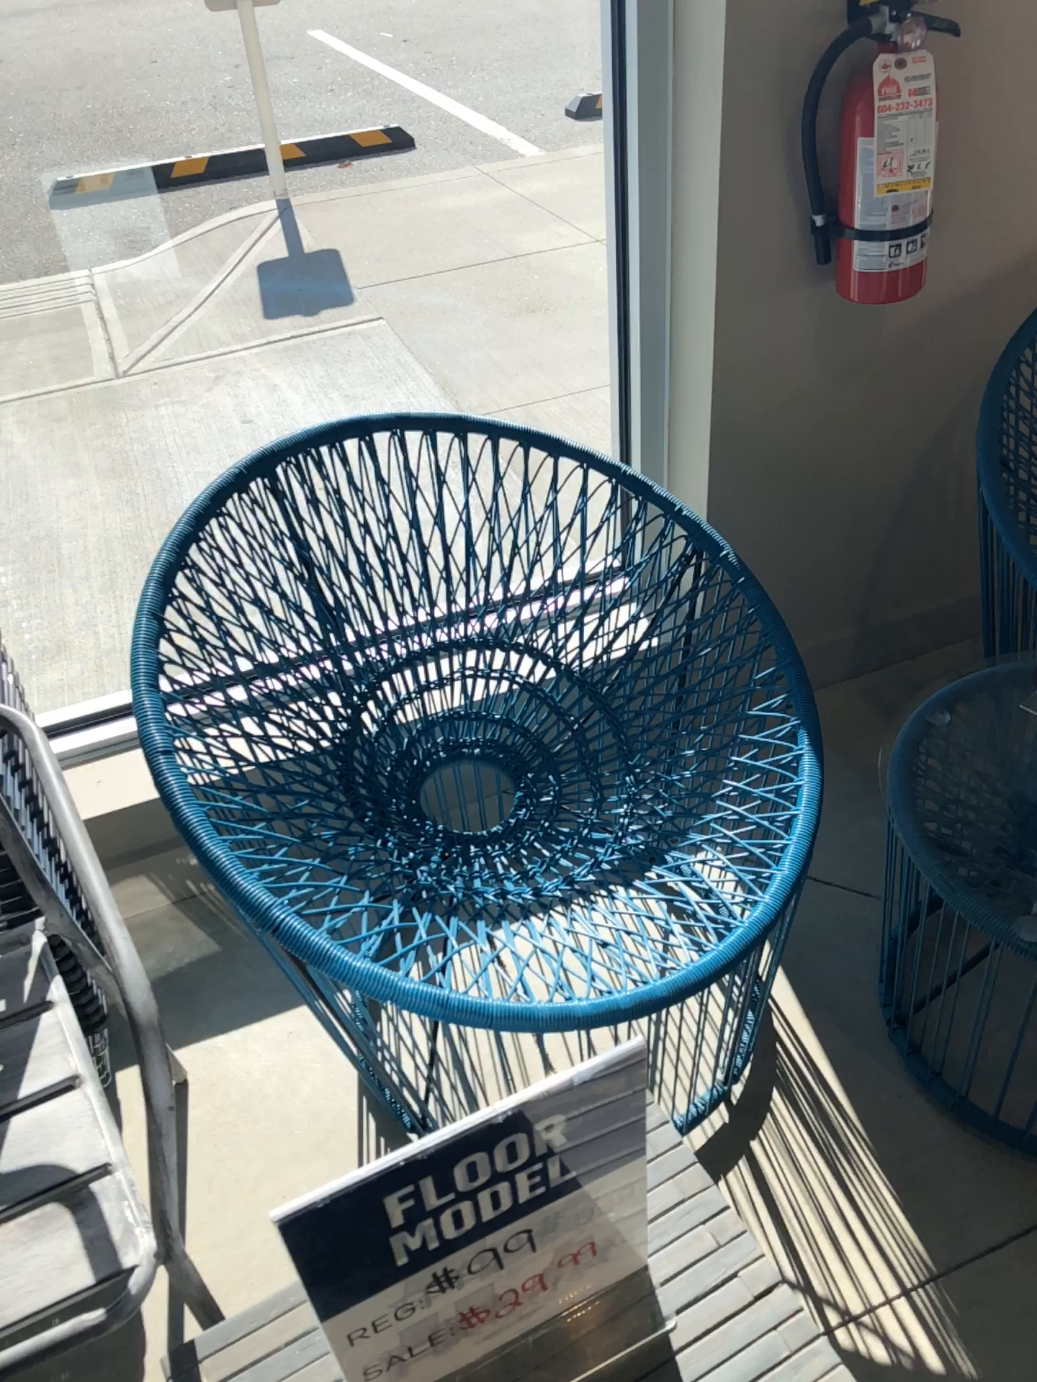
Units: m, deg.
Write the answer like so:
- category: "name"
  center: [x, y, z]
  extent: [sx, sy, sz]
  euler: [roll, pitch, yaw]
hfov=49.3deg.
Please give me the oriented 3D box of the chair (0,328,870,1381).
- category: "chair"
  center: [-0.070, 0.204, 1.427]
  extent: [0.662, 0.993, 0.723]
  euler: [21, 45, 29]
